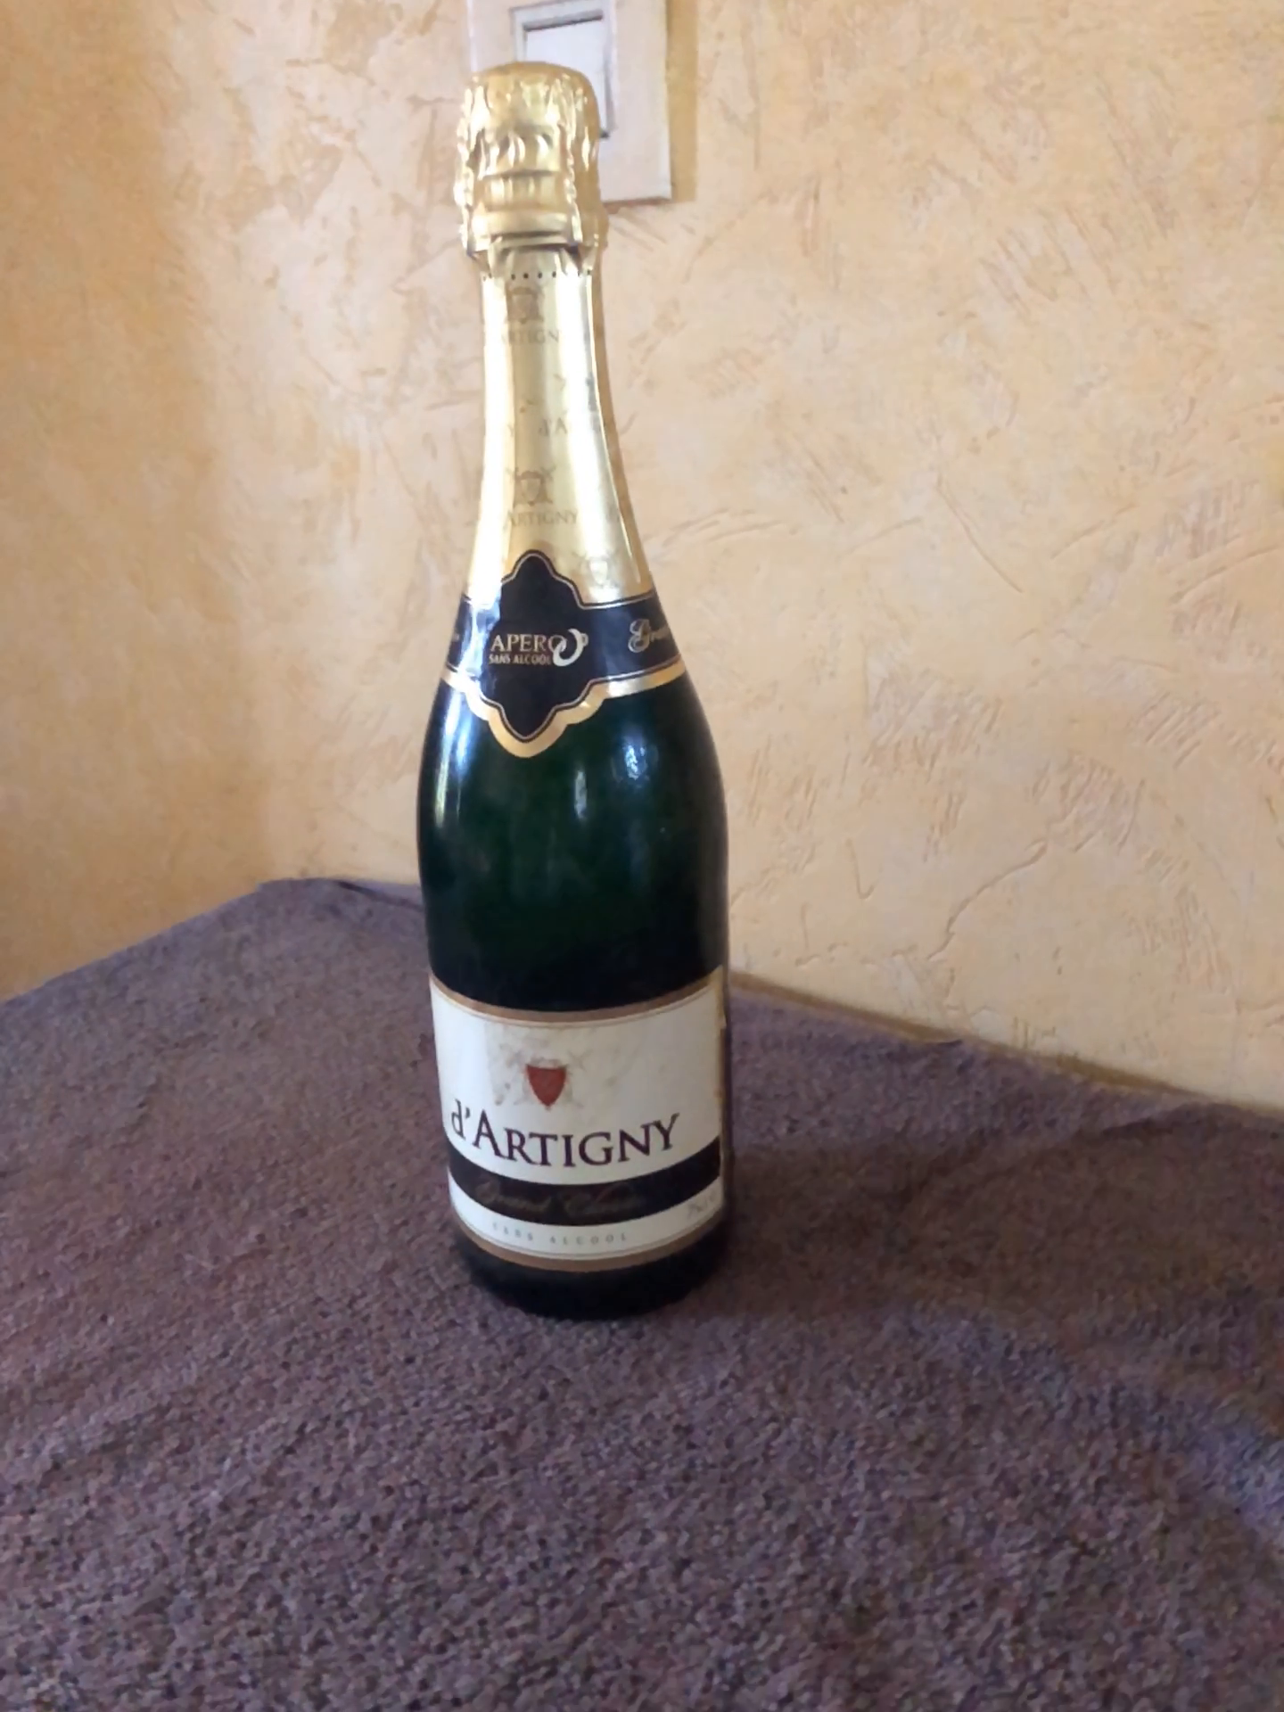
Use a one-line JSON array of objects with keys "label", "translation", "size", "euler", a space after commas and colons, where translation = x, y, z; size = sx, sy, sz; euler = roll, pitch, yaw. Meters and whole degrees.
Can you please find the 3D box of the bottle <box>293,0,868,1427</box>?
[{"label": "bottle", "translation": [0.000, -0.026, 0.363], "size": [0.100, 0.318, 0.101], "euler": [-2, 20, 1]}]
